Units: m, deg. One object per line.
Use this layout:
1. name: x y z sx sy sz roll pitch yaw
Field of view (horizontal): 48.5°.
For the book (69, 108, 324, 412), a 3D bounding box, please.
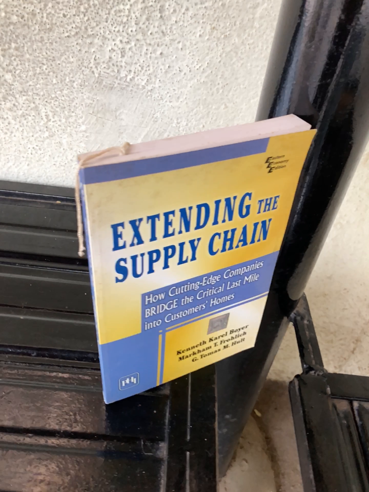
1. book: 0.003 0.022 0.306 0.150 0.229 0.030 -14 43 -24
